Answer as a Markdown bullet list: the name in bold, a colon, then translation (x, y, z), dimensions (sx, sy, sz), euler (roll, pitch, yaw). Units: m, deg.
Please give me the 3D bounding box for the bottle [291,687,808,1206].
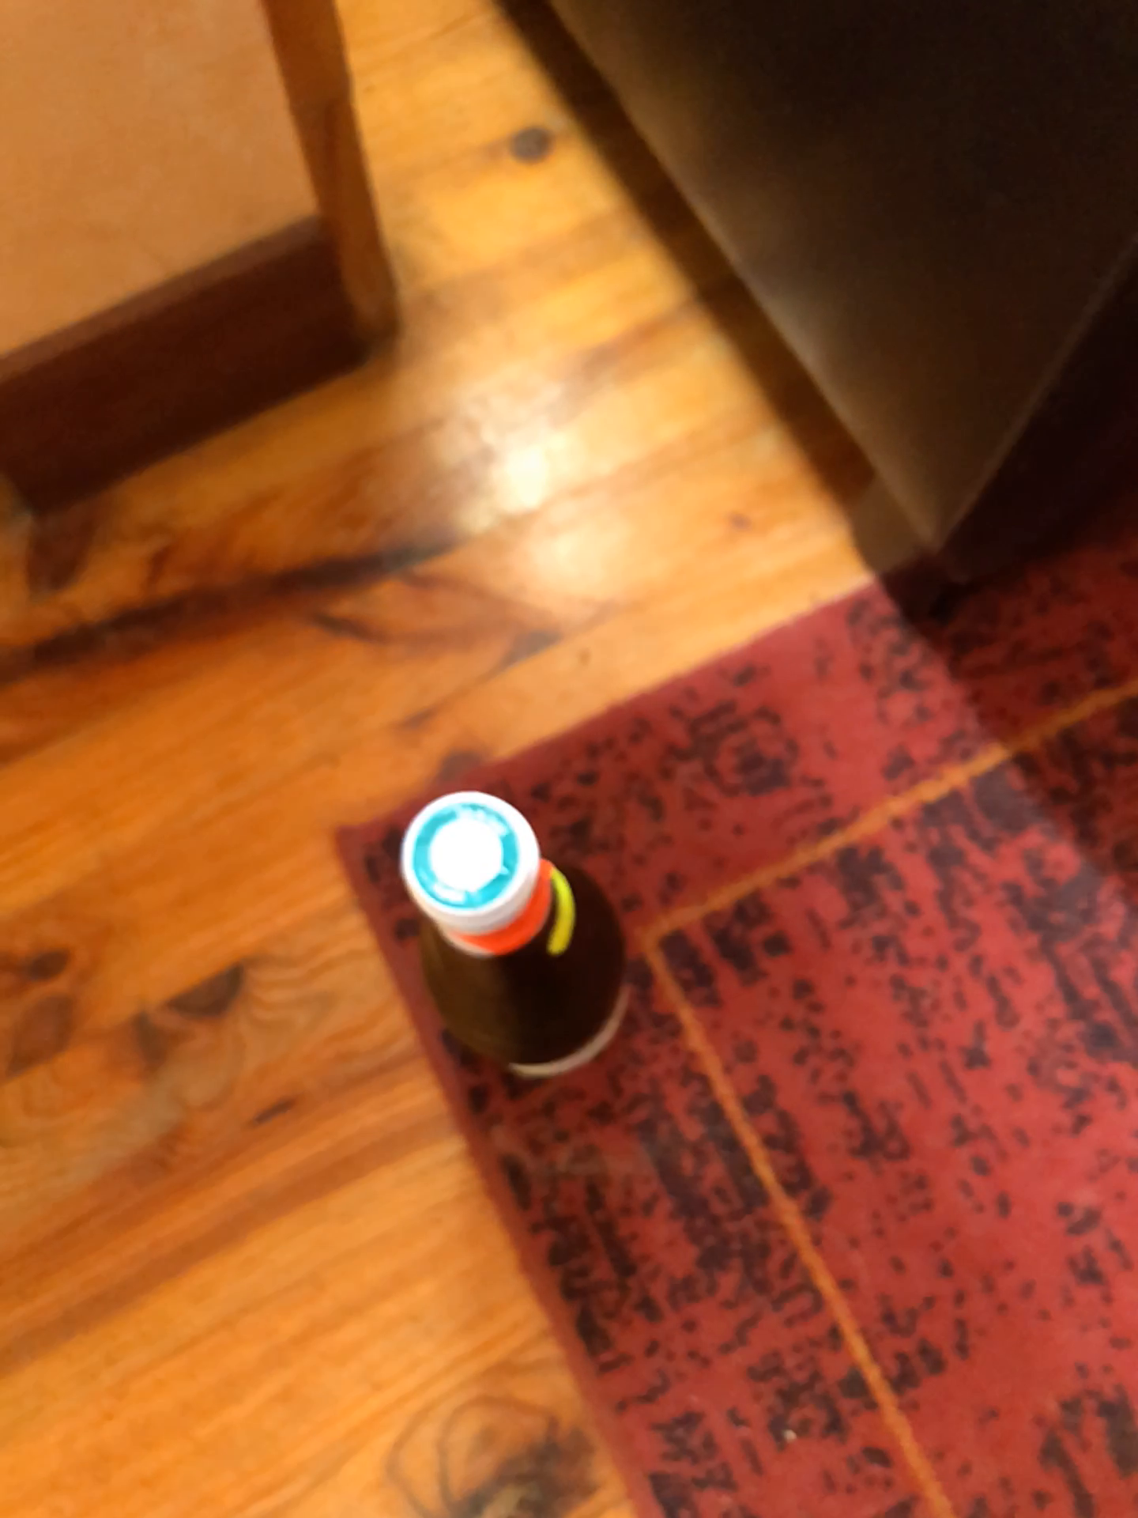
- **bottle**: translation (-0.003, 0.071, 0.403), dimensions (0.080, 0.300, 0.080), euler (0, 76, 0)
